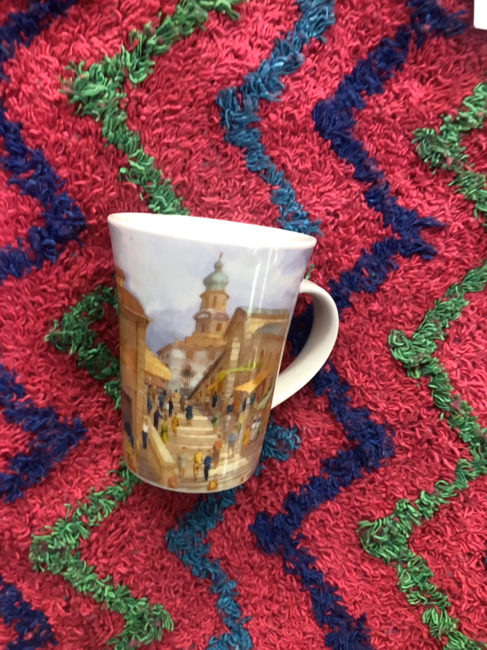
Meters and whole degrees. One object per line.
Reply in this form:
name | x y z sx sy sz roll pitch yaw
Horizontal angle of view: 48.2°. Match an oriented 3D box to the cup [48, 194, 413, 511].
cup | -0.008 0.001 0.226 0.110 0.090 0.090 -2 106 -39
